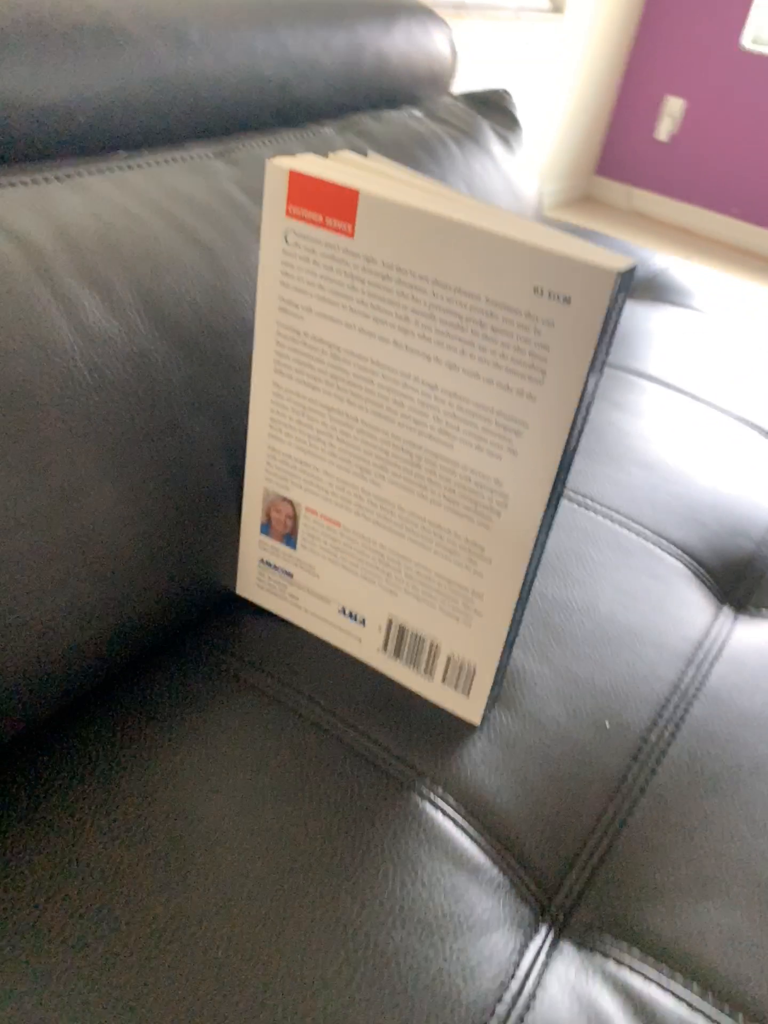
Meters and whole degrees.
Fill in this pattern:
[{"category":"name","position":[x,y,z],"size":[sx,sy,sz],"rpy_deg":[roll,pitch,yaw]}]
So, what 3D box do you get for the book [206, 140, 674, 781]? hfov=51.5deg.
[{"category":"book","position":[0.003,-0.022,0.380],"size":[0.162,0.246,0.082],"rpy_deg":[32,40,27]}]
